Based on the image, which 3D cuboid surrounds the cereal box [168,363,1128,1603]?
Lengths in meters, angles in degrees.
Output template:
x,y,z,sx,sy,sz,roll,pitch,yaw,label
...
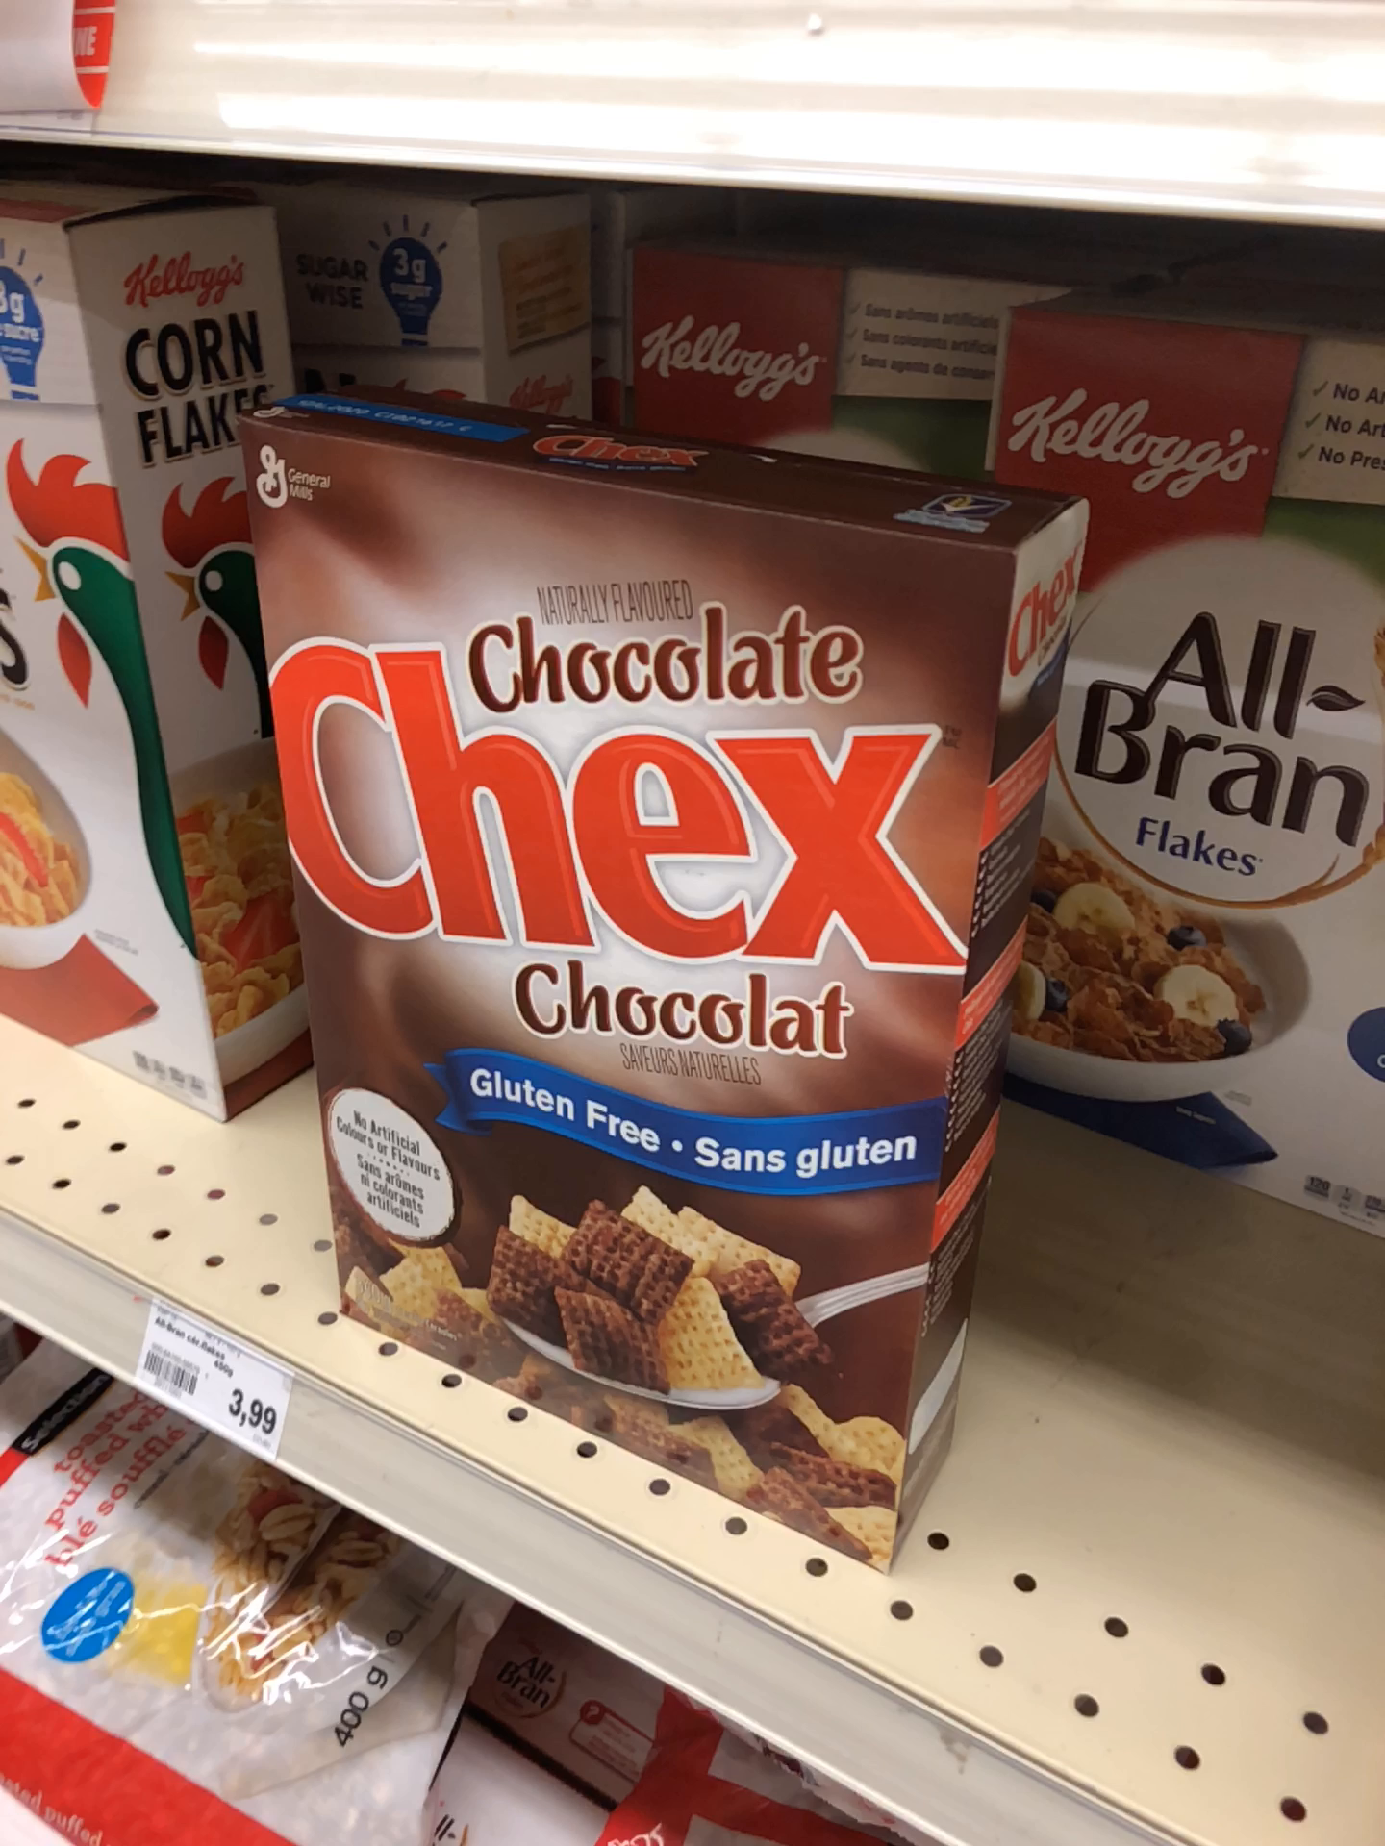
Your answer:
x,y,z,sx,sy,sz,roll,pitch,yaw,label
-0.020,0.017,0.393,0.210,0.278,0.050,17,33,26,cereal box
